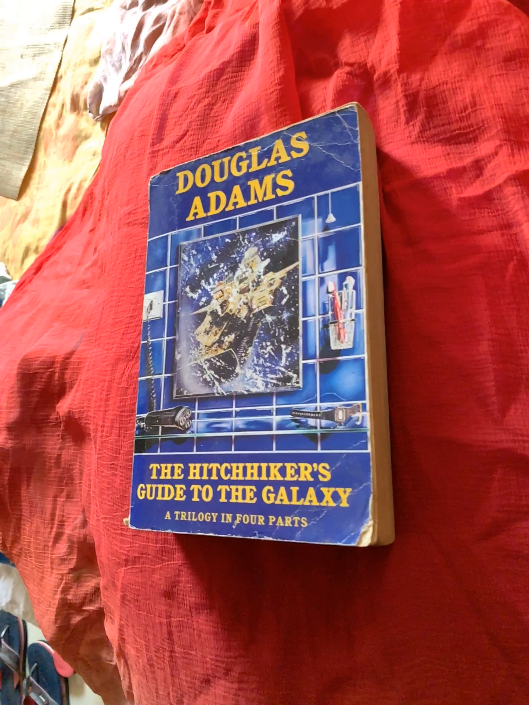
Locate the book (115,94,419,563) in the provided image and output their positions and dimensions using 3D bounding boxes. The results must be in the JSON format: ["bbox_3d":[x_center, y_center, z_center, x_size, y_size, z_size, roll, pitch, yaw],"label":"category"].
[{"bbox_3d":[0.000,-0.008,0.263,0.131,0.044,0.187,-6,75,31],"label":"book"}]
